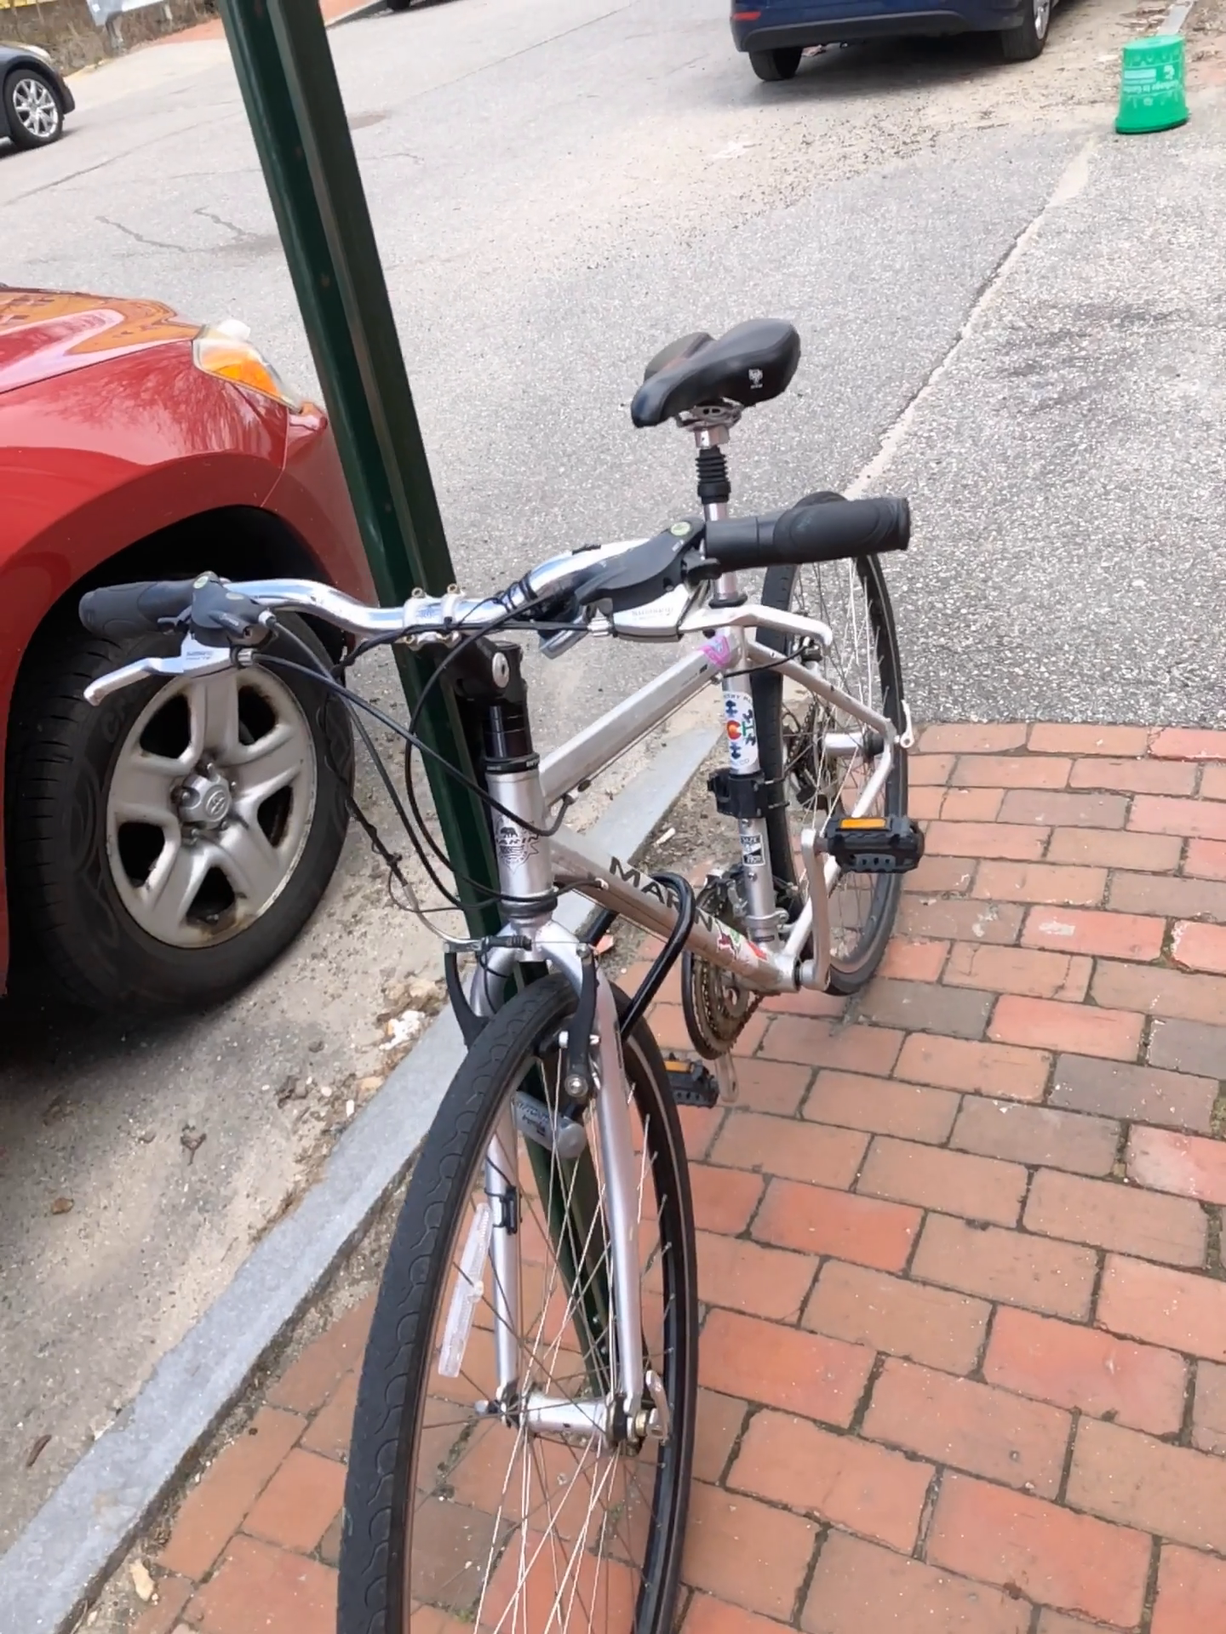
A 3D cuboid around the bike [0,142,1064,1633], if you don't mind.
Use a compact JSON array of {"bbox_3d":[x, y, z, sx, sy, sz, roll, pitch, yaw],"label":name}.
[{"bbox_3d":[0.042,-0.008,1.235,0.608,1.011,1.569,4,32,19],"label":"bike"}]
